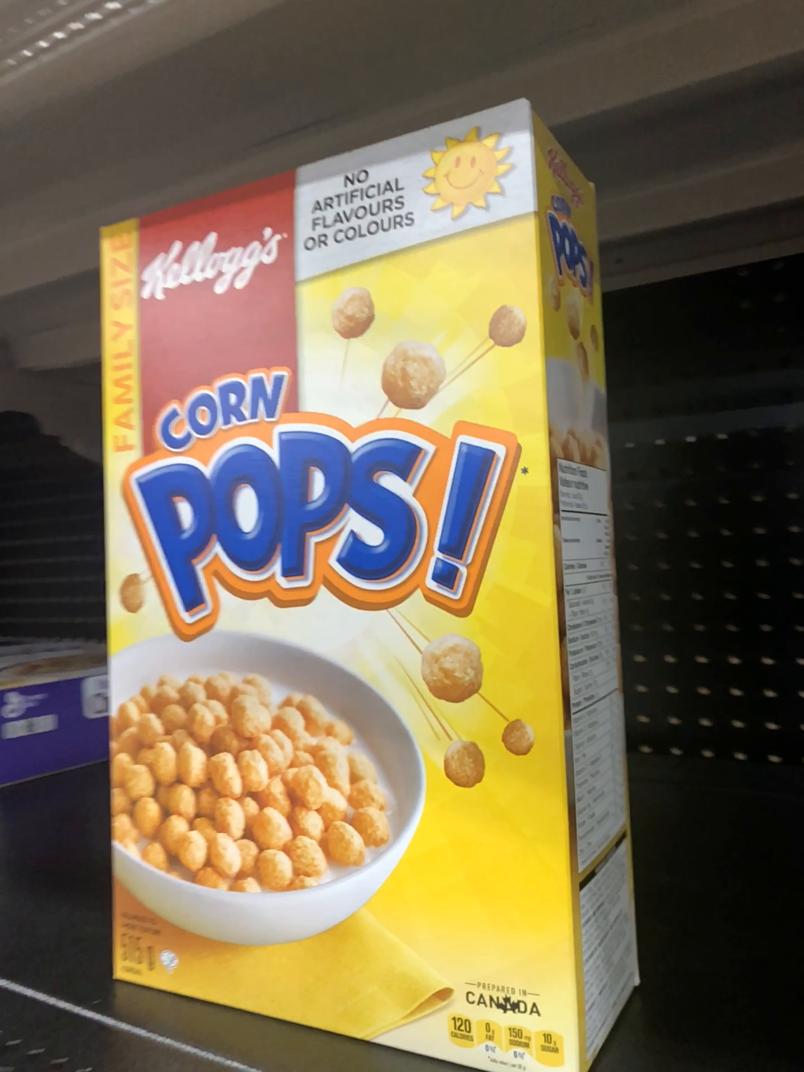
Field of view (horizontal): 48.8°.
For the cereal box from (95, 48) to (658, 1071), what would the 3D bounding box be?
[{"bbox_3d":[-0.016,0.011,0.357,0.200,0.320,0.090,-3,-4,28],"label":"cereal box"}]
